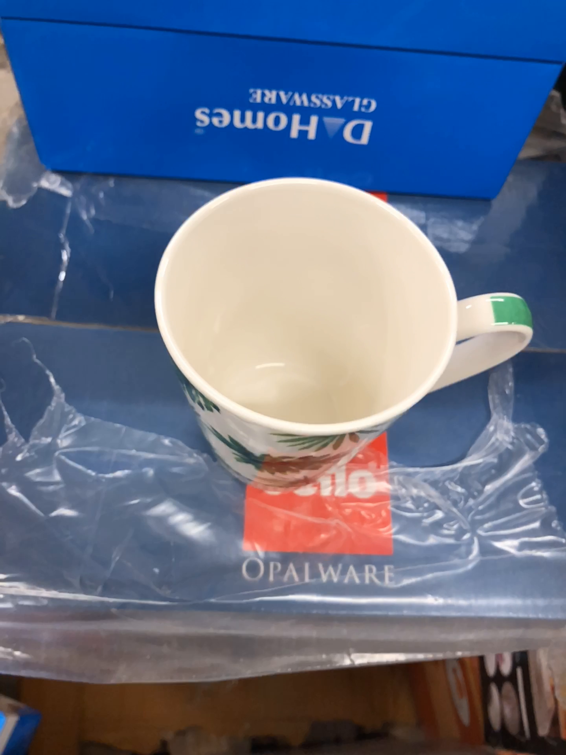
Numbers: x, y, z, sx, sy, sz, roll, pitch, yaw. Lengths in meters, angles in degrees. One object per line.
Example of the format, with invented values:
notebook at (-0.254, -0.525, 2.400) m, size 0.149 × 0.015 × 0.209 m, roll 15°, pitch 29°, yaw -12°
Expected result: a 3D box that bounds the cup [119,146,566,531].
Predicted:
cup at (0.016, -0.007, 0.220) m, size 0.120 × 0.100 × 0.080 m, roll -9°, pitch 67°, yaw -9°
